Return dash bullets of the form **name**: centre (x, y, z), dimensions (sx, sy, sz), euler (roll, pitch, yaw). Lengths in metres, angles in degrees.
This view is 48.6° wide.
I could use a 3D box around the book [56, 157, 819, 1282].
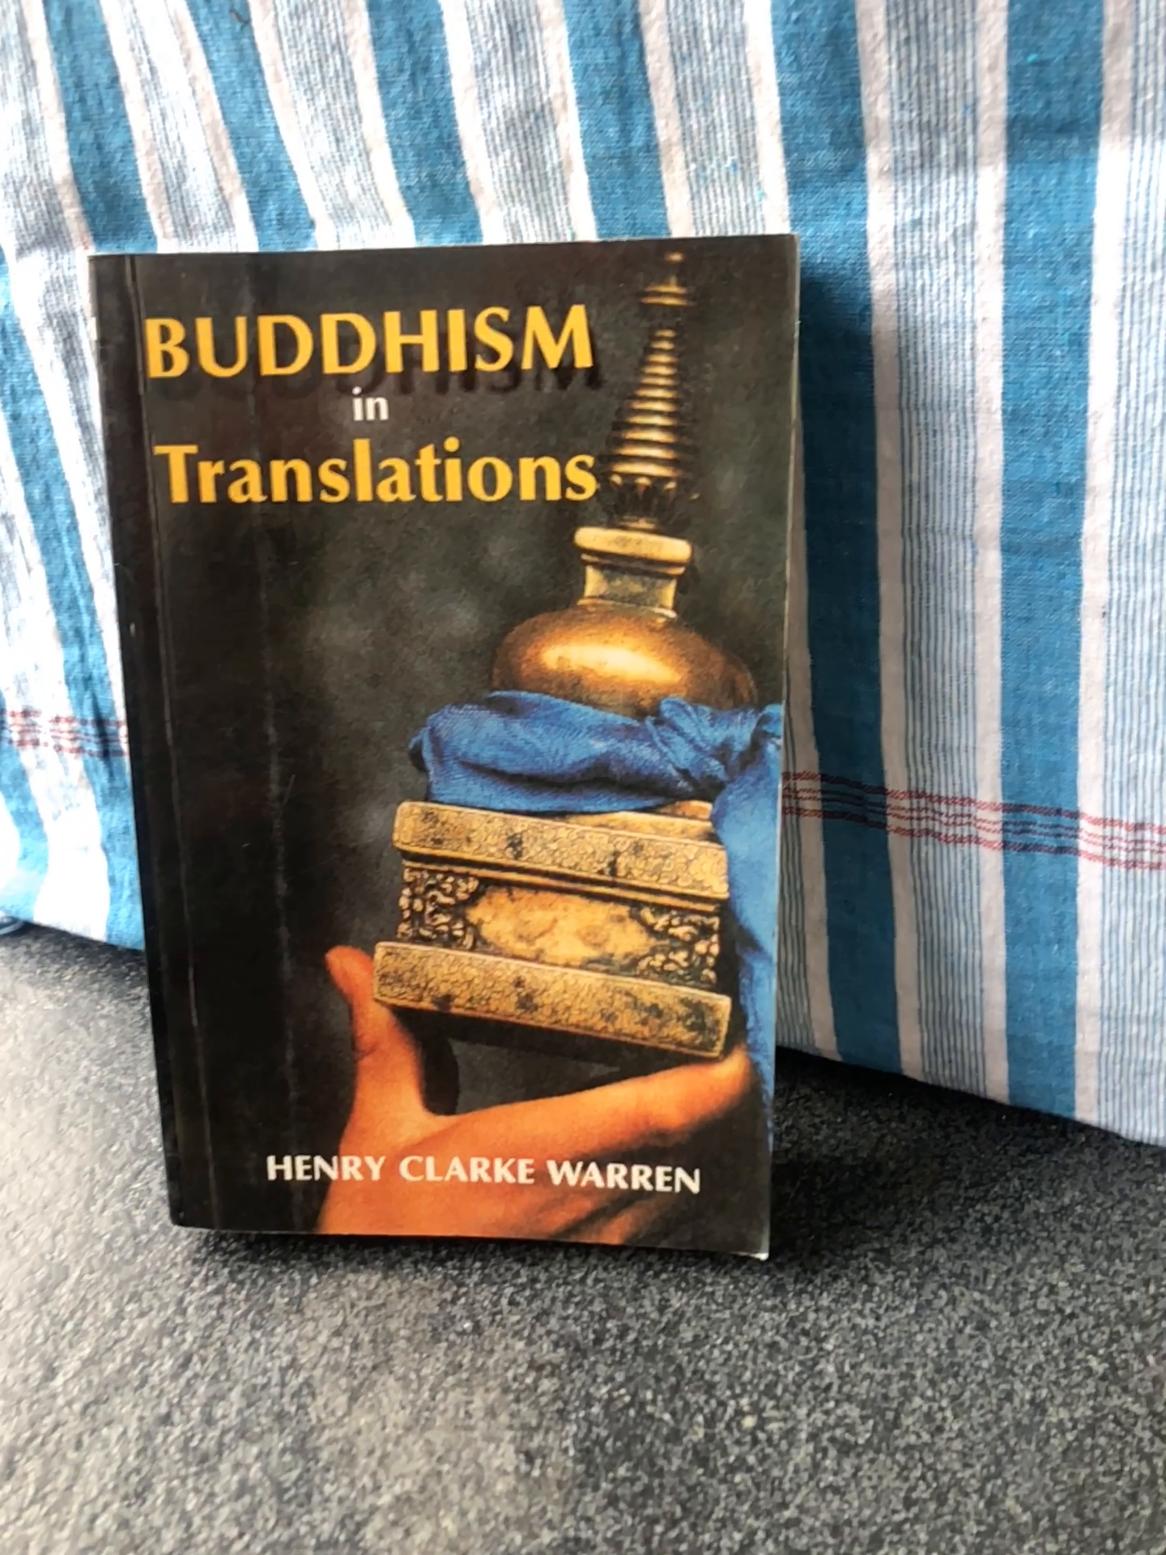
- **book**: centre (-0.025, -0.009, 0.272), dimensions (0.140, 0.210, 0.050), euler (1, 8, 6)
